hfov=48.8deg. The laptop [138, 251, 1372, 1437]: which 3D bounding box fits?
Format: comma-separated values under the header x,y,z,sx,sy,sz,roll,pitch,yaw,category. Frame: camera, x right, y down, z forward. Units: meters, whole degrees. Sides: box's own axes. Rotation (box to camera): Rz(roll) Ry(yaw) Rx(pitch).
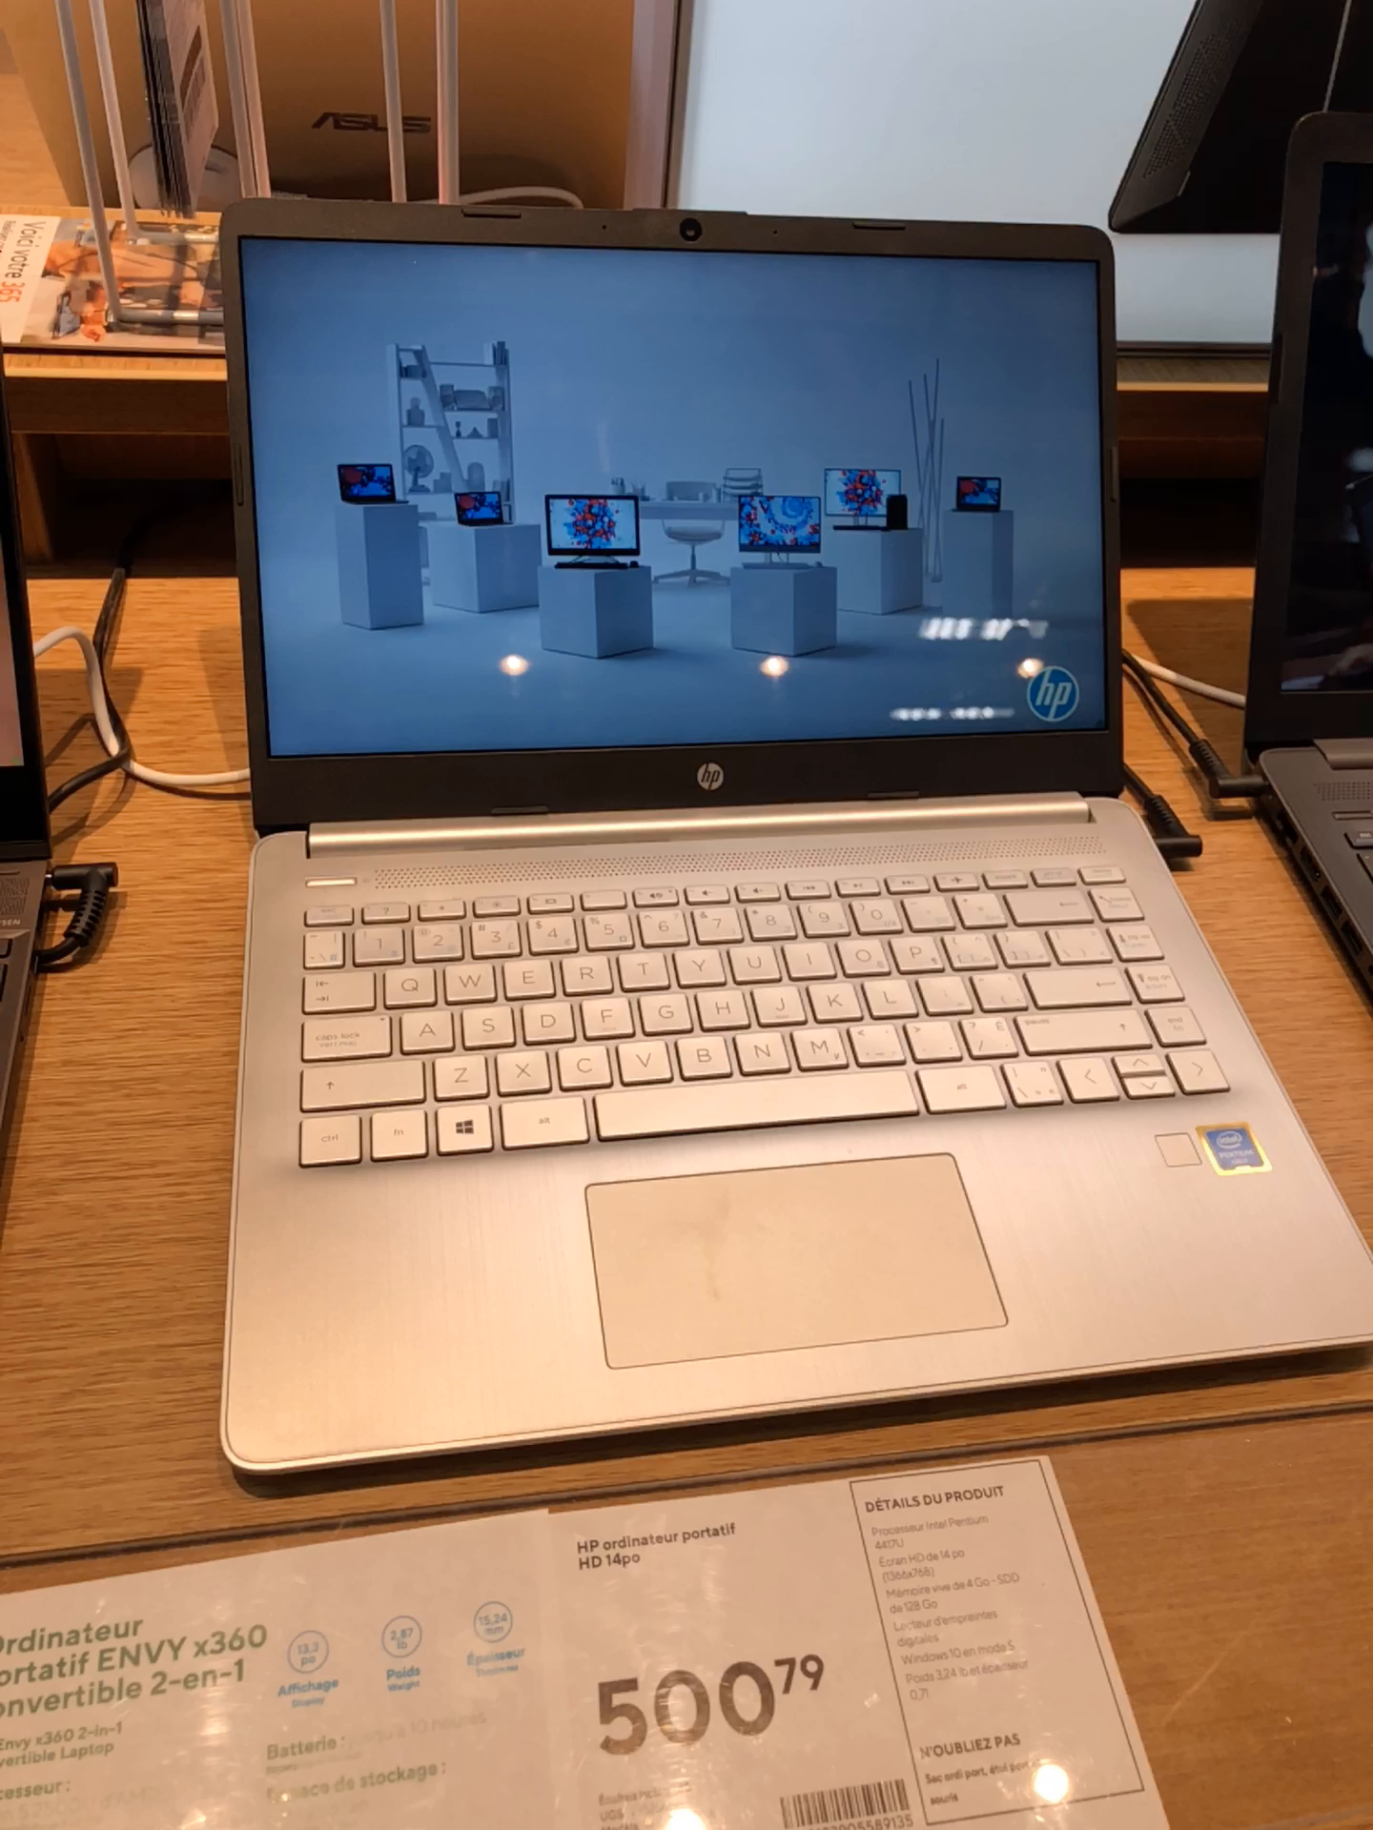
x,y,z,sx,sy,sz,roll,pitch,yaw,category
0.020,-0.054,0.477,0.308,0.167,0.347,-4,45,-8,laptop
